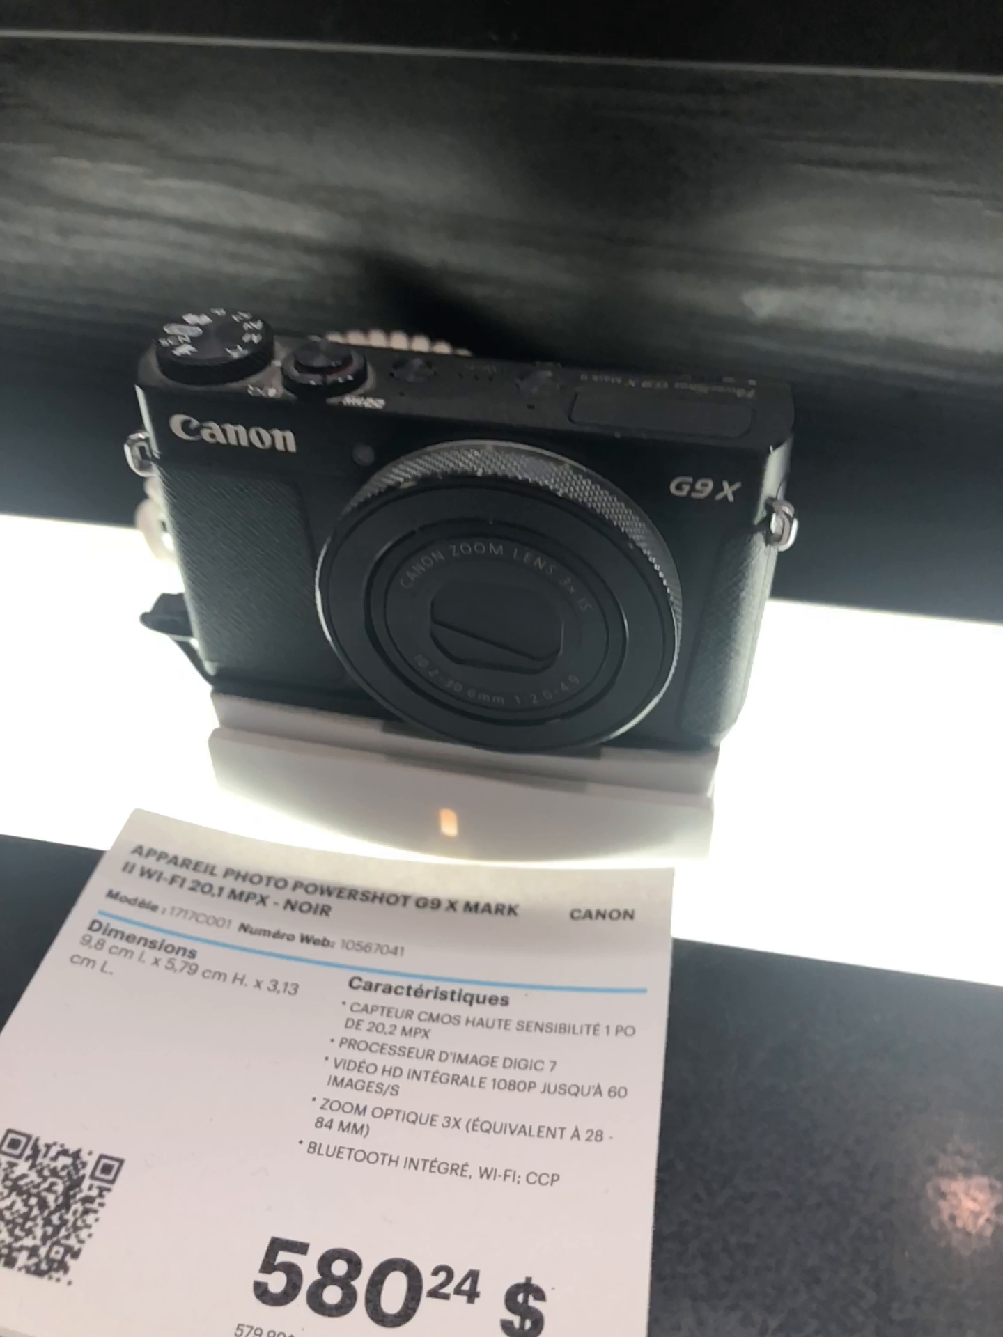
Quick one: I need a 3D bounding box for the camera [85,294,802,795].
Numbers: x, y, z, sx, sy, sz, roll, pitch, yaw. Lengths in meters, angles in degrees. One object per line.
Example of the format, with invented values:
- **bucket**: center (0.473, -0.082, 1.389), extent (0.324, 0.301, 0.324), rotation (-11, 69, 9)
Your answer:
- **camera**: center (-0.007, -0.018, 0.170), extent (0.092, 0.060, 0.026), rotation (8, 40, 9)
